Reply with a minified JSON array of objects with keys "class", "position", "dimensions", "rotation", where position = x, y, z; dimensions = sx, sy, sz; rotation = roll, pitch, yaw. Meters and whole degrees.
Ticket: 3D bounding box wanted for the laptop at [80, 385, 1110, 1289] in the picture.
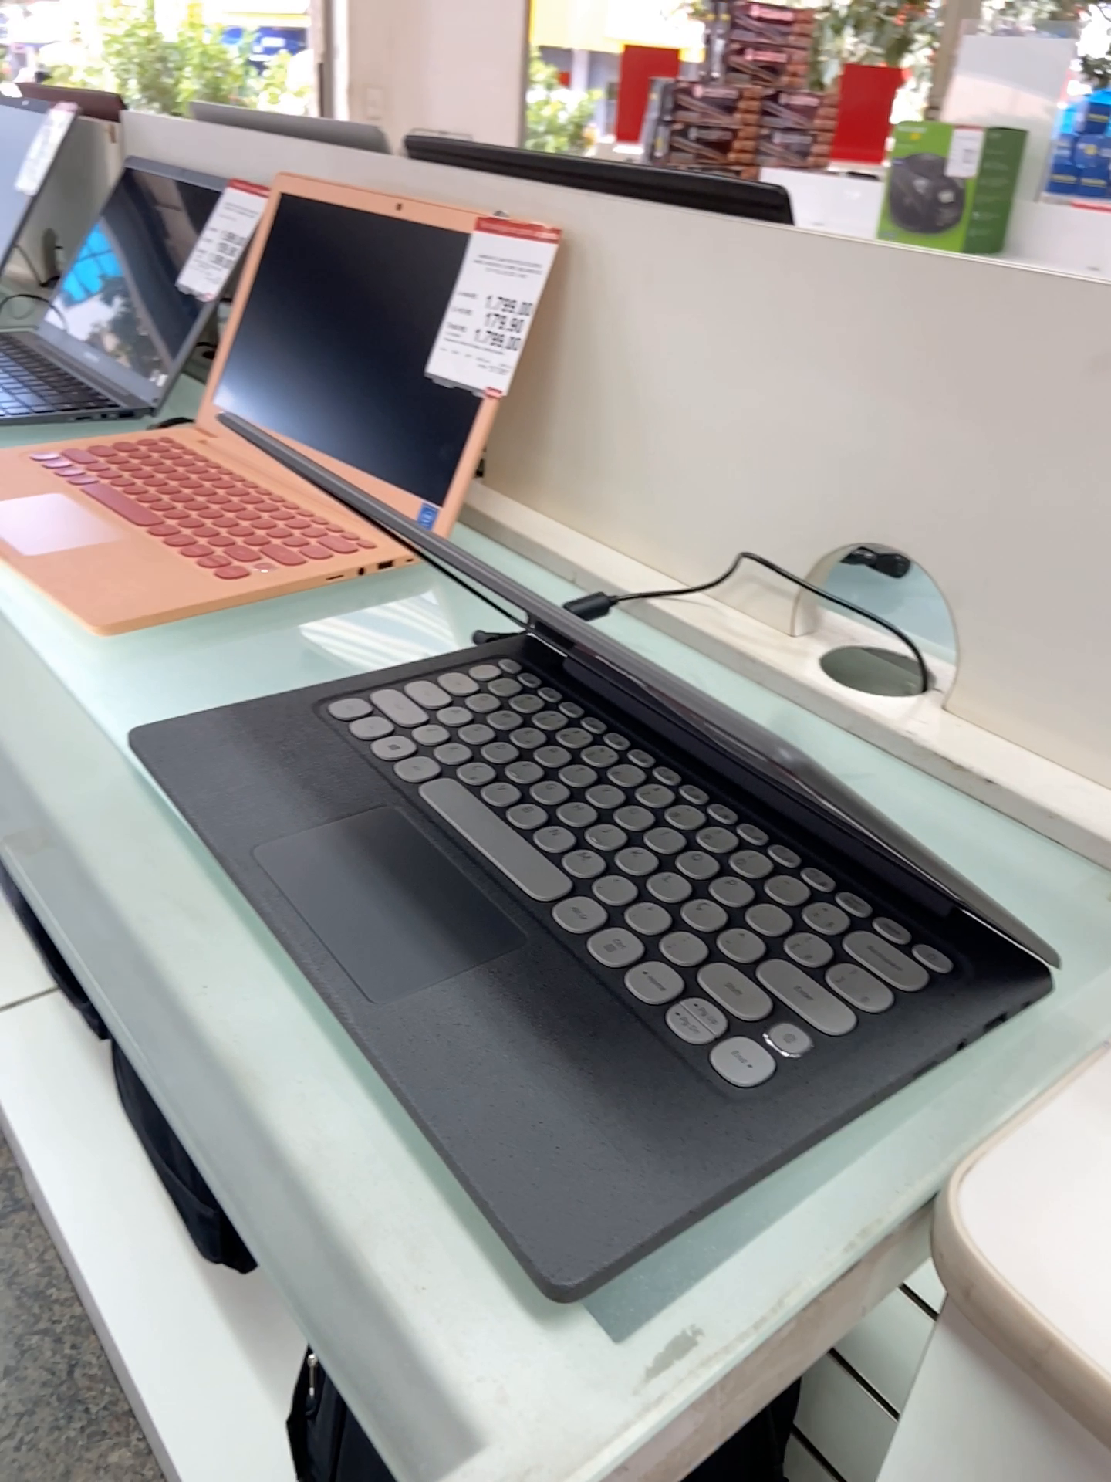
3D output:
[{"class":"laptop","position":[-0.006,-0.019,0.412],"dimensions":[0.212,0.132,0.317],"rotation":[-17,35,-33]}]
